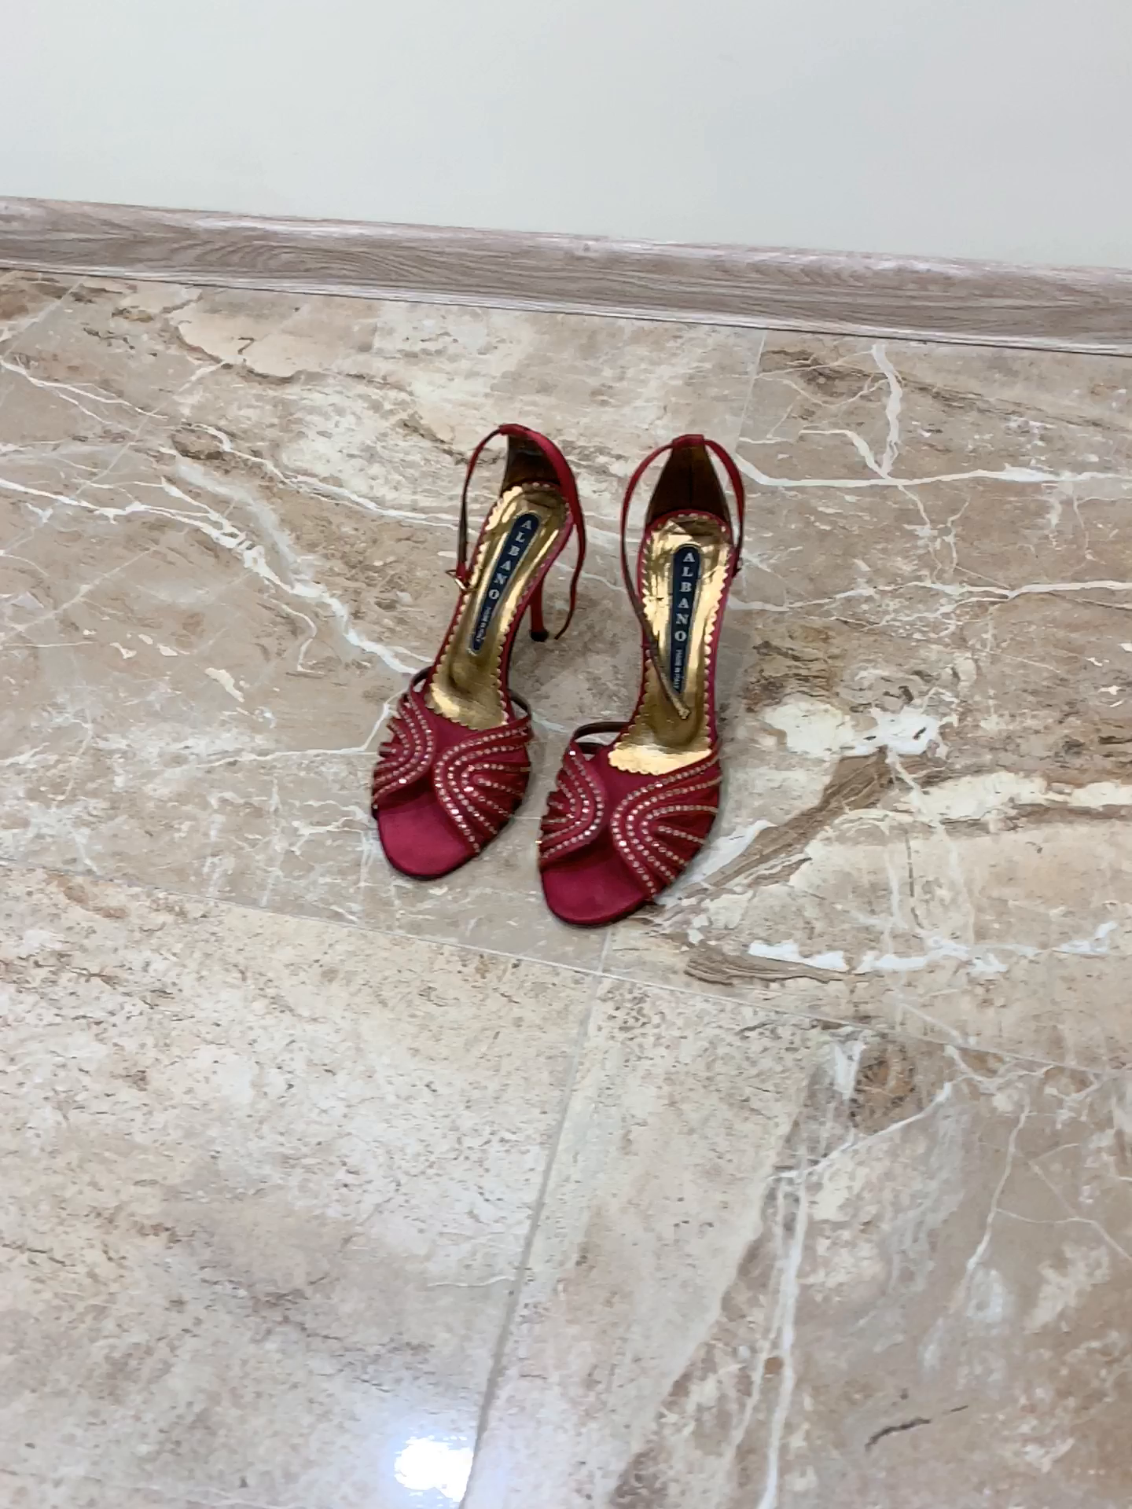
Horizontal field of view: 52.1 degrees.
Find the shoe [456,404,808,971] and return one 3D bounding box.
[{"bbox_3d":[0.040,-0.039,0.550,0.090,0.129,0.231,13,52,14],"label":"shoe"}]

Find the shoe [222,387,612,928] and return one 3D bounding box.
[{"bbox_3d":[-0.055,-0.055,0.572,0.090,0.129,0.231,13,52,14],"label":"shoe"}]
